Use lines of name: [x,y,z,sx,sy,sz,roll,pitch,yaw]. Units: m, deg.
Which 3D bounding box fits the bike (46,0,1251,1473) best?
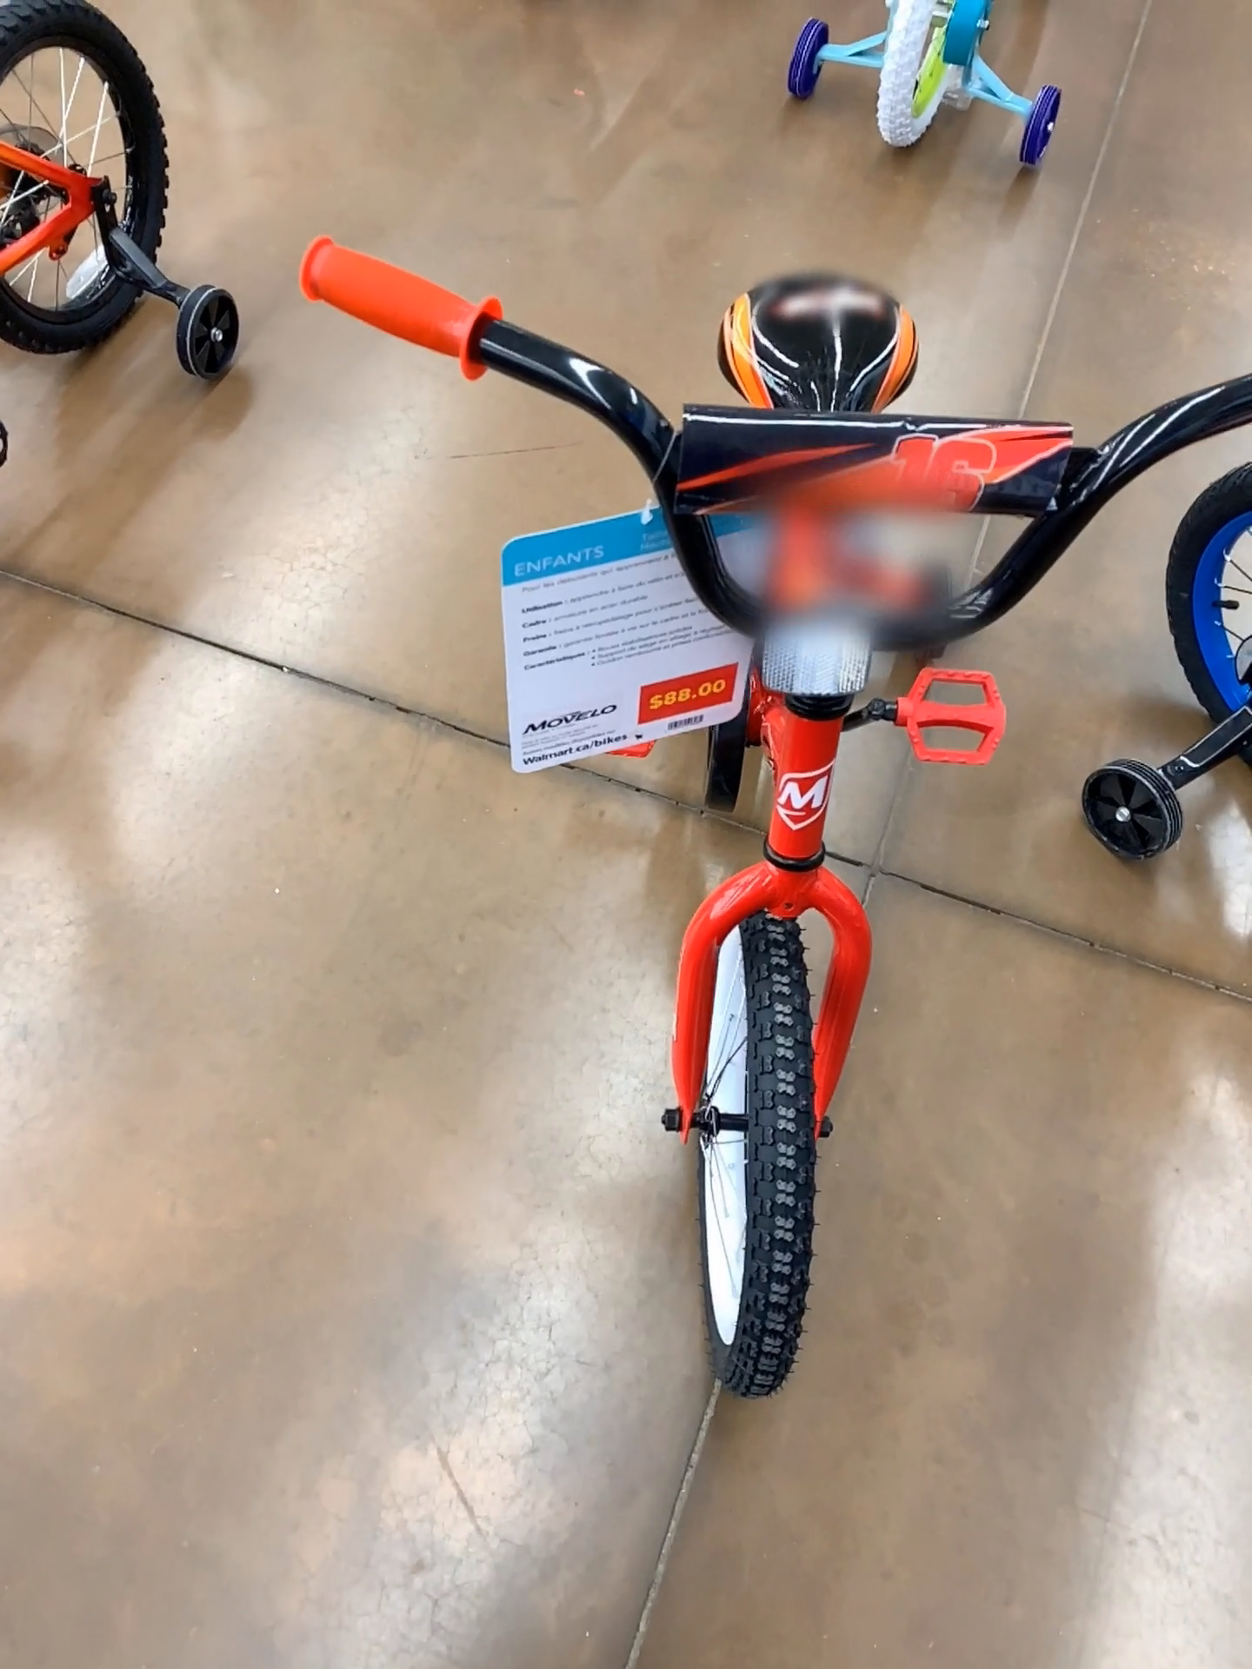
bike: [0.143,-0.163,1.019,0.584,0.850,1.074,5,56,0]
